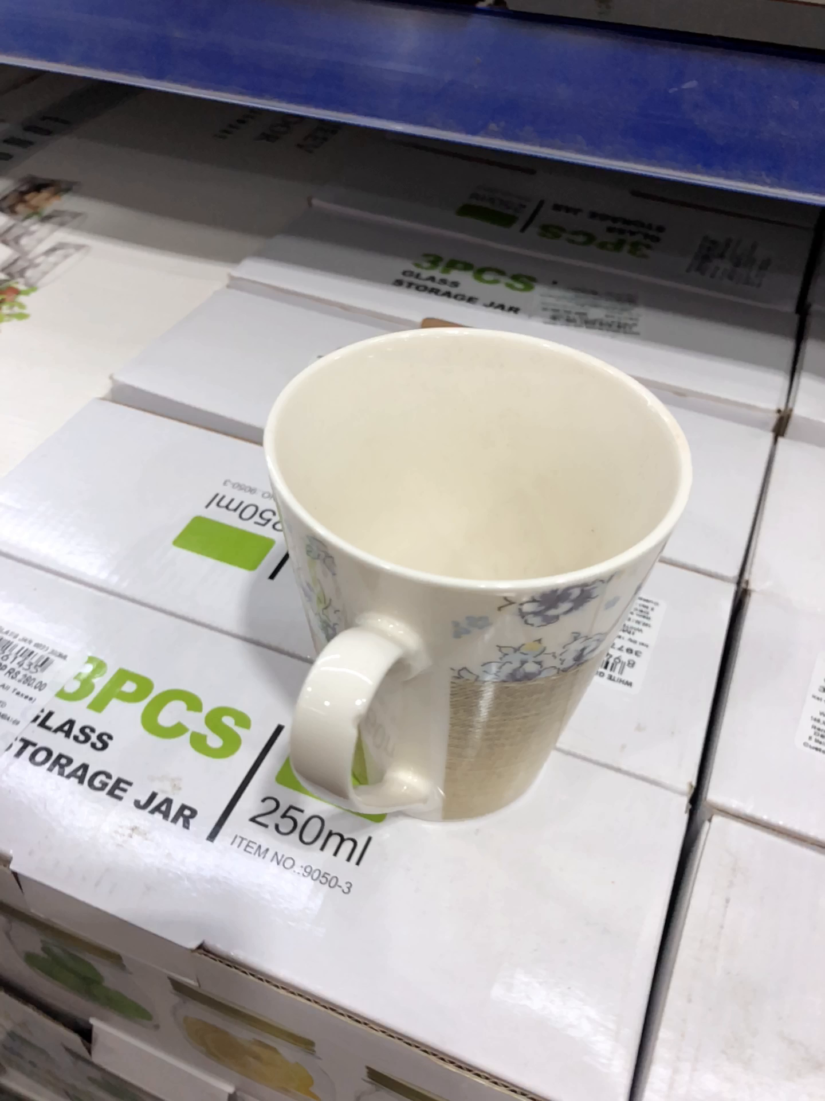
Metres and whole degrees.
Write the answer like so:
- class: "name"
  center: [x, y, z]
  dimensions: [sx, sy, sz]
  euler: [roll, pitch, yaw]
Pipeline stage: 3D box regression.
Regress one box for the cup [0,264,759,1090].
- class: "cup"
  center: [0.002, 0.020, 0.211]
  dimensions: [0.090, 0.100, 0.130]
  euler: [23, 49, 20]
